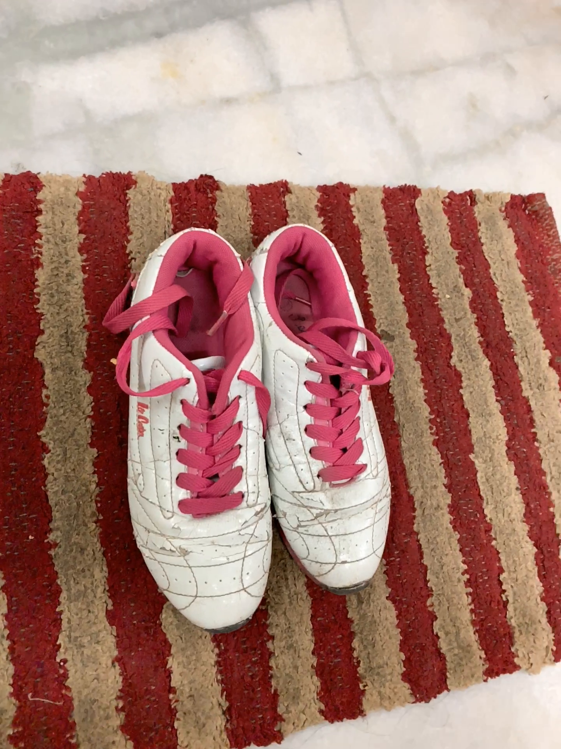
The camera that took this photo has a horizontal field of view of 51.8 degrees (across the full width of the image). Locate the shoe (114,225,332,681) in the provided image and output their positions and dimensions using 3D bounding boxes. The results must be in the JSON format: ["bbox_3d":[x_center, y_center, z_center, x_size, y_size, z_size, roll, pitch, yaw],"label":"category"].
[{"bbox_3d":[-0.047,0.040,0.363,0.090,0.100,0.240,-5,76,-17],"label":"shoe"}]

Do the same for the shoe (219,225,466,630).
[{"bbox_3d":[0.030,0.030,0.398,0.100,0.100,0.240,-5,76,-18],"label":"shoe"}]
